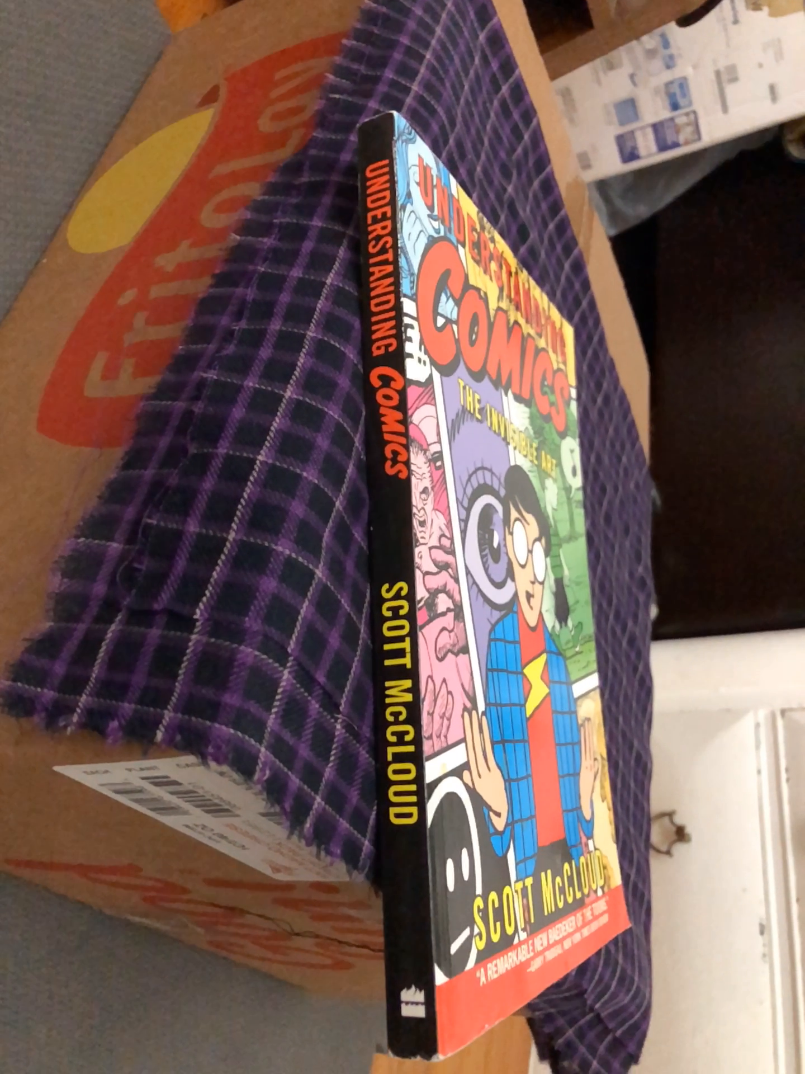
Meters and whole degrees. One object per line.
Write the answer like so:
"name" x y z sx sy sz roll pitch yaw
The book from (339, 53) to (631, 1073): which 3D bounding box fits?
"book" 0.034 0.008 0.306 0.171 0.020 0.270 23 61 -60
